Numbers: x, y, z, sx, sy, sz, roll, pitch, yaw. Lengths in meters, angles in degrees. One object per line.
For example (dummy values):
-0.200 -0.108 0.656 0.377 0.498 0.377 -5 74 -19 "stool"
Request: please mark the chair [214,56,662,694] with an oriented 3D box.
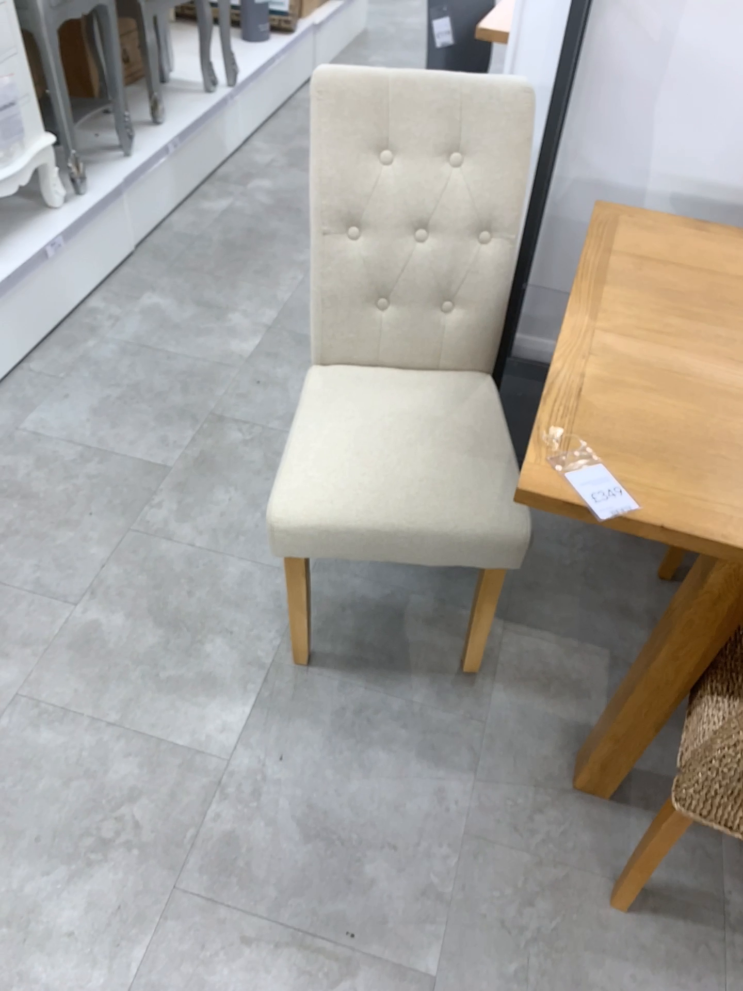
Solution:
0.065 -0.170 1.349 0.479 0.896 0.616 3 46 0 "chair"
